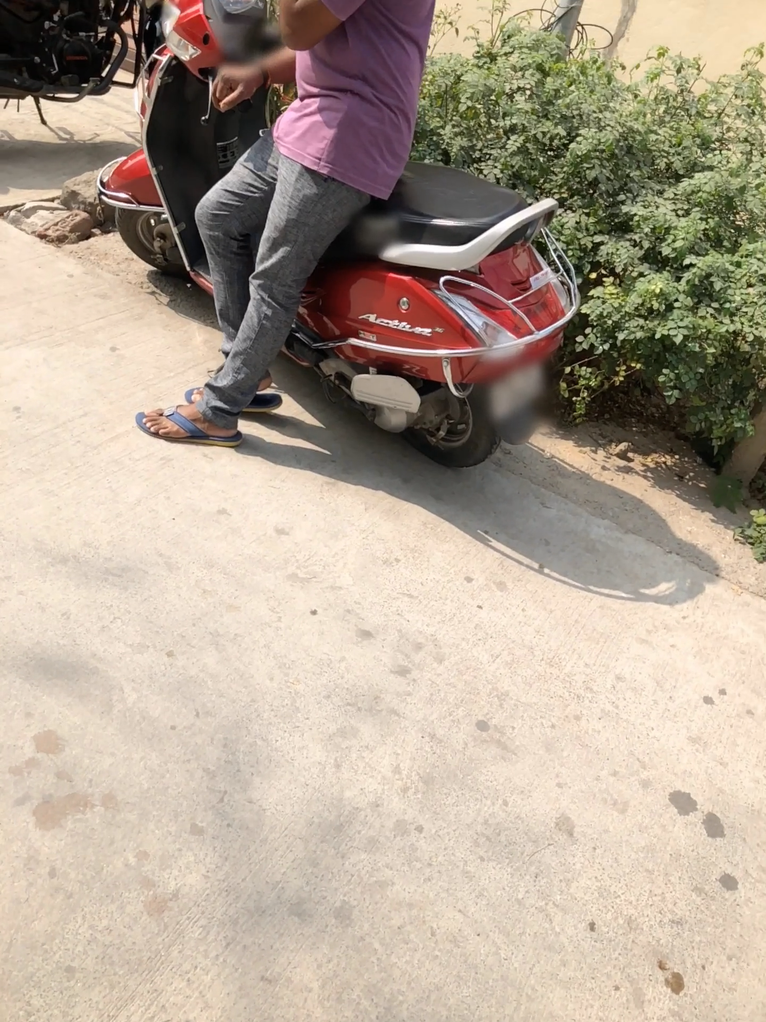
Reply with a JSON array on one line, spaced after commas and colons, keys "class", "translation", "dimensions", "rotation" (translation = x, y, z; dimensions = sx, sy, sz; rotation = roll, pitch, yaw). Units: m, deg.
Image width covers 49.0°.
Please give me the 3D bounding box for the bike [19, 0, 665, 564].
[{"class": "bike", "translation": [-0.272, -0.836, 2.322], "dimensions": [1.583, 1.157, 0.625], "rotation": [34, 38, 26]}]
